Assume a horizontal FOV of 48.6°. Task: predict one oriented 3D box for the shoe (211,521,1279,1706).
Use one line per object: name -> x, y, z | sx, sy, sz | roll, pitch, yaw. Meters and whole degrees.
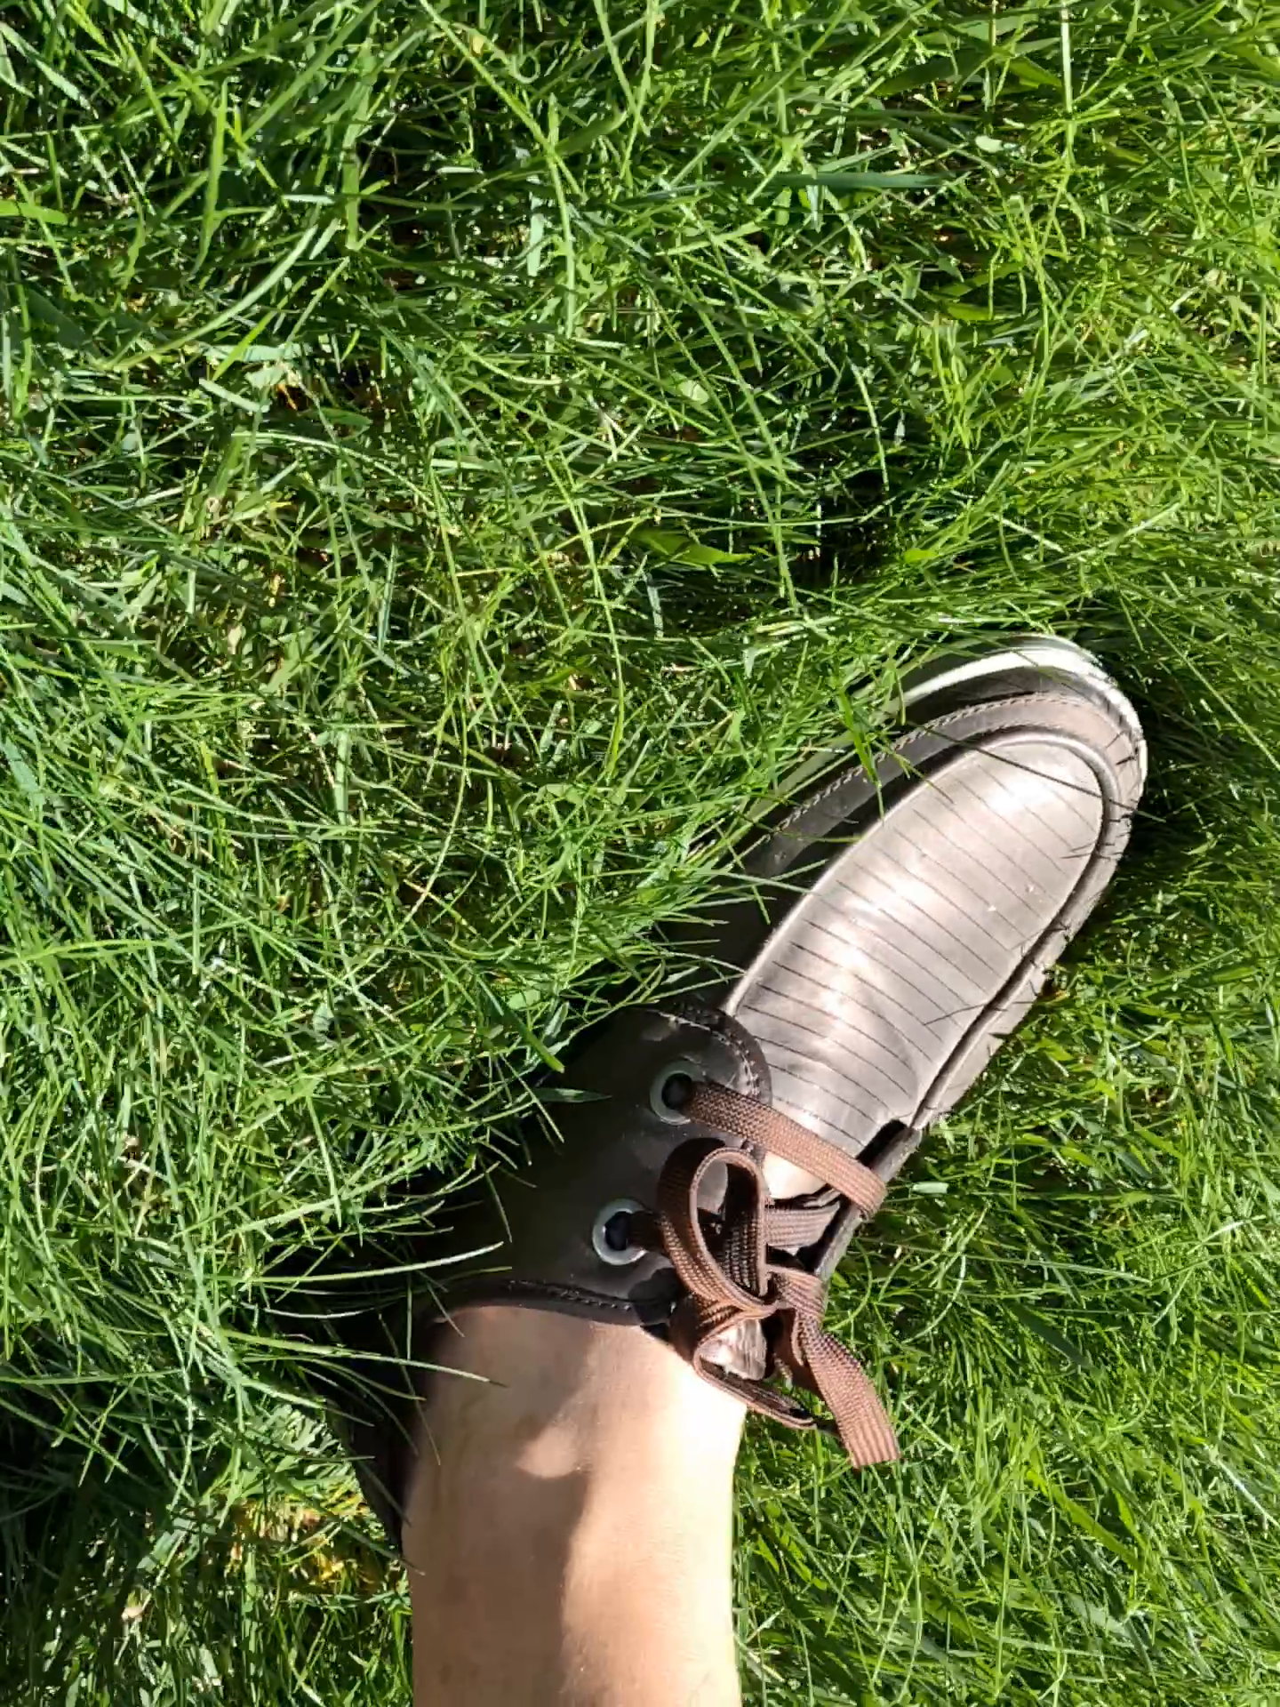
shoe -> 0.036, 0.071, 0.353 | 0.110, 0.107, 0.293 | 39, 97, -18
